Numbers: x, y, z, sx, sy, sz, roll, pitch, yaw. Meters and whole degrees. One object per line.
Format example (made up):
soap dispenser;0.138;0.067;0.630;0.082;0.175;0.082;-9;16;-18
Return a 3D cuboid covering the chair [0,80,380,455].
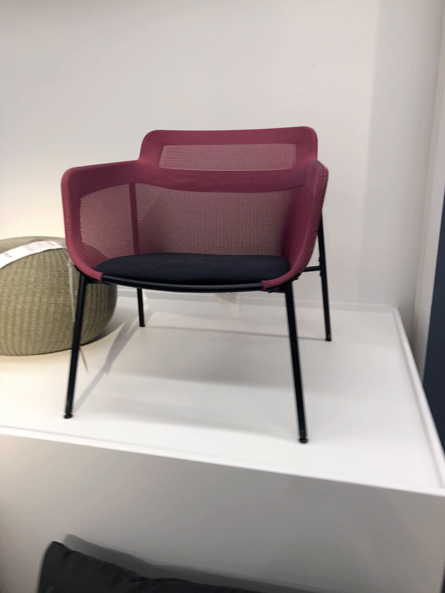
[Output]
chair;-0.001;-0.181;1.503;0.780;0.748;1.013;3;17;12
